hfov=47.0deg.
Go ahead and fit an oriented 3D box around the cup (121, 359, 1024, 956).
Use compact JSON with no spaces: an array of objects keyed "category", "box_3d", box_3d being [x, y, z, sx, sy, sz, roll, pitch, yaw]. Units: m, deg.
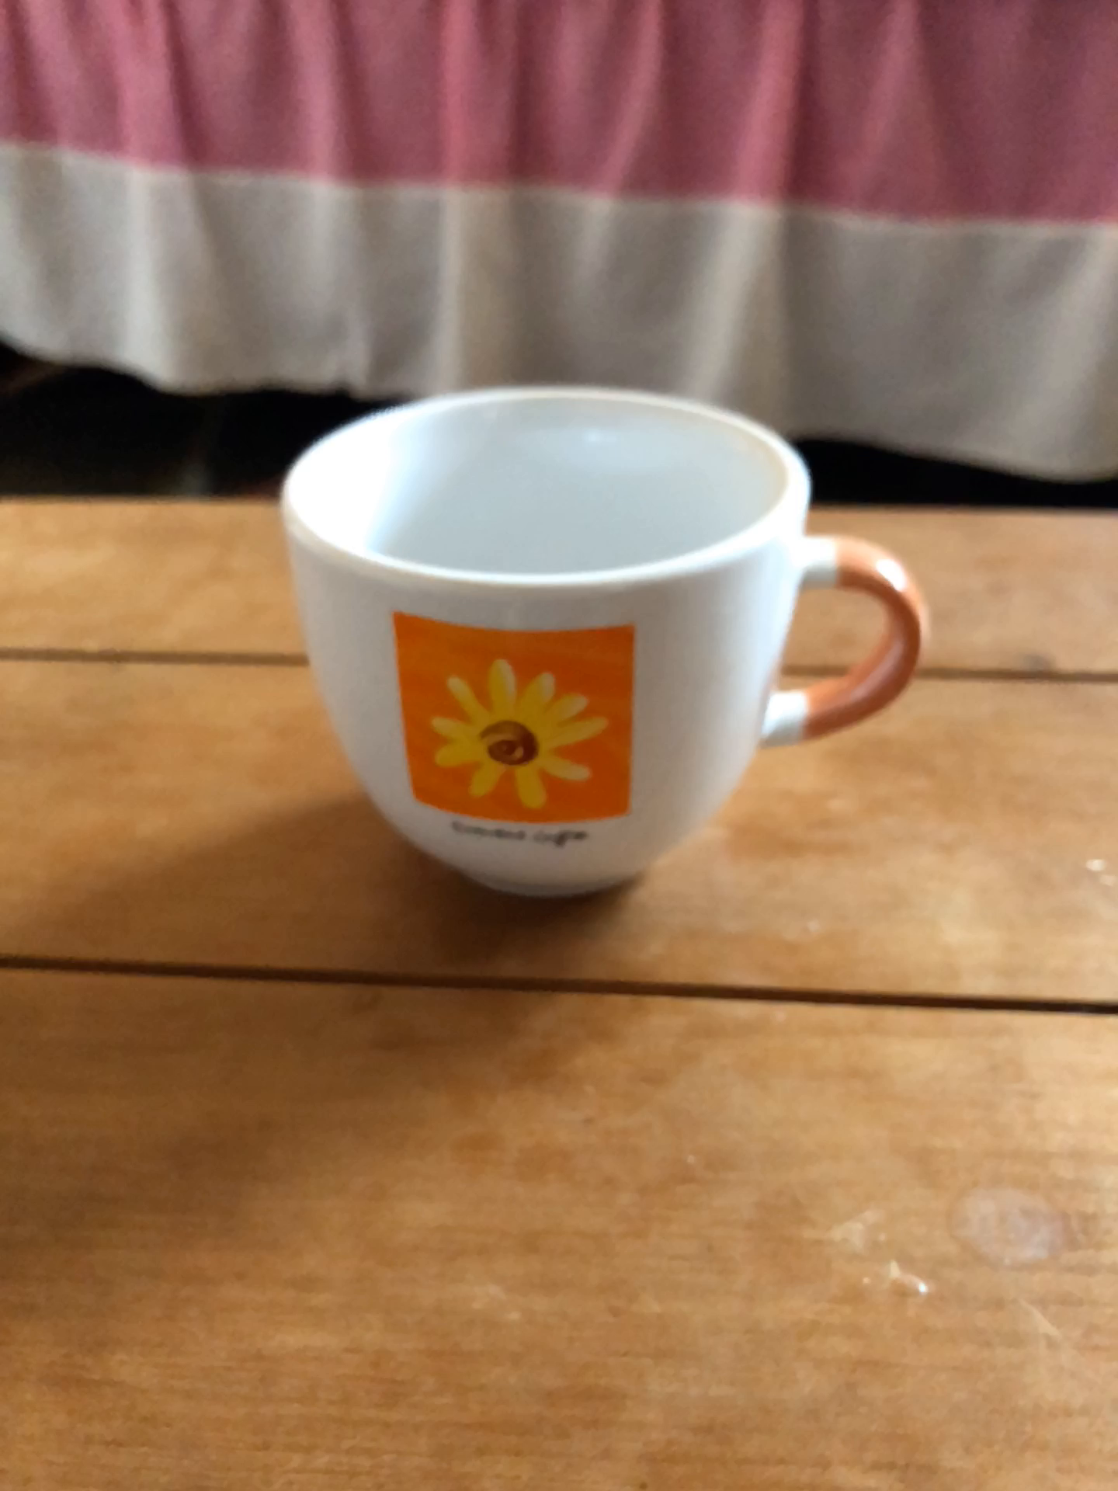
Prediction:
[{"category":"cup","box_3d":[0.003,-0.019,0.211,0.110,0.060,0.091,0,33,2]}]
